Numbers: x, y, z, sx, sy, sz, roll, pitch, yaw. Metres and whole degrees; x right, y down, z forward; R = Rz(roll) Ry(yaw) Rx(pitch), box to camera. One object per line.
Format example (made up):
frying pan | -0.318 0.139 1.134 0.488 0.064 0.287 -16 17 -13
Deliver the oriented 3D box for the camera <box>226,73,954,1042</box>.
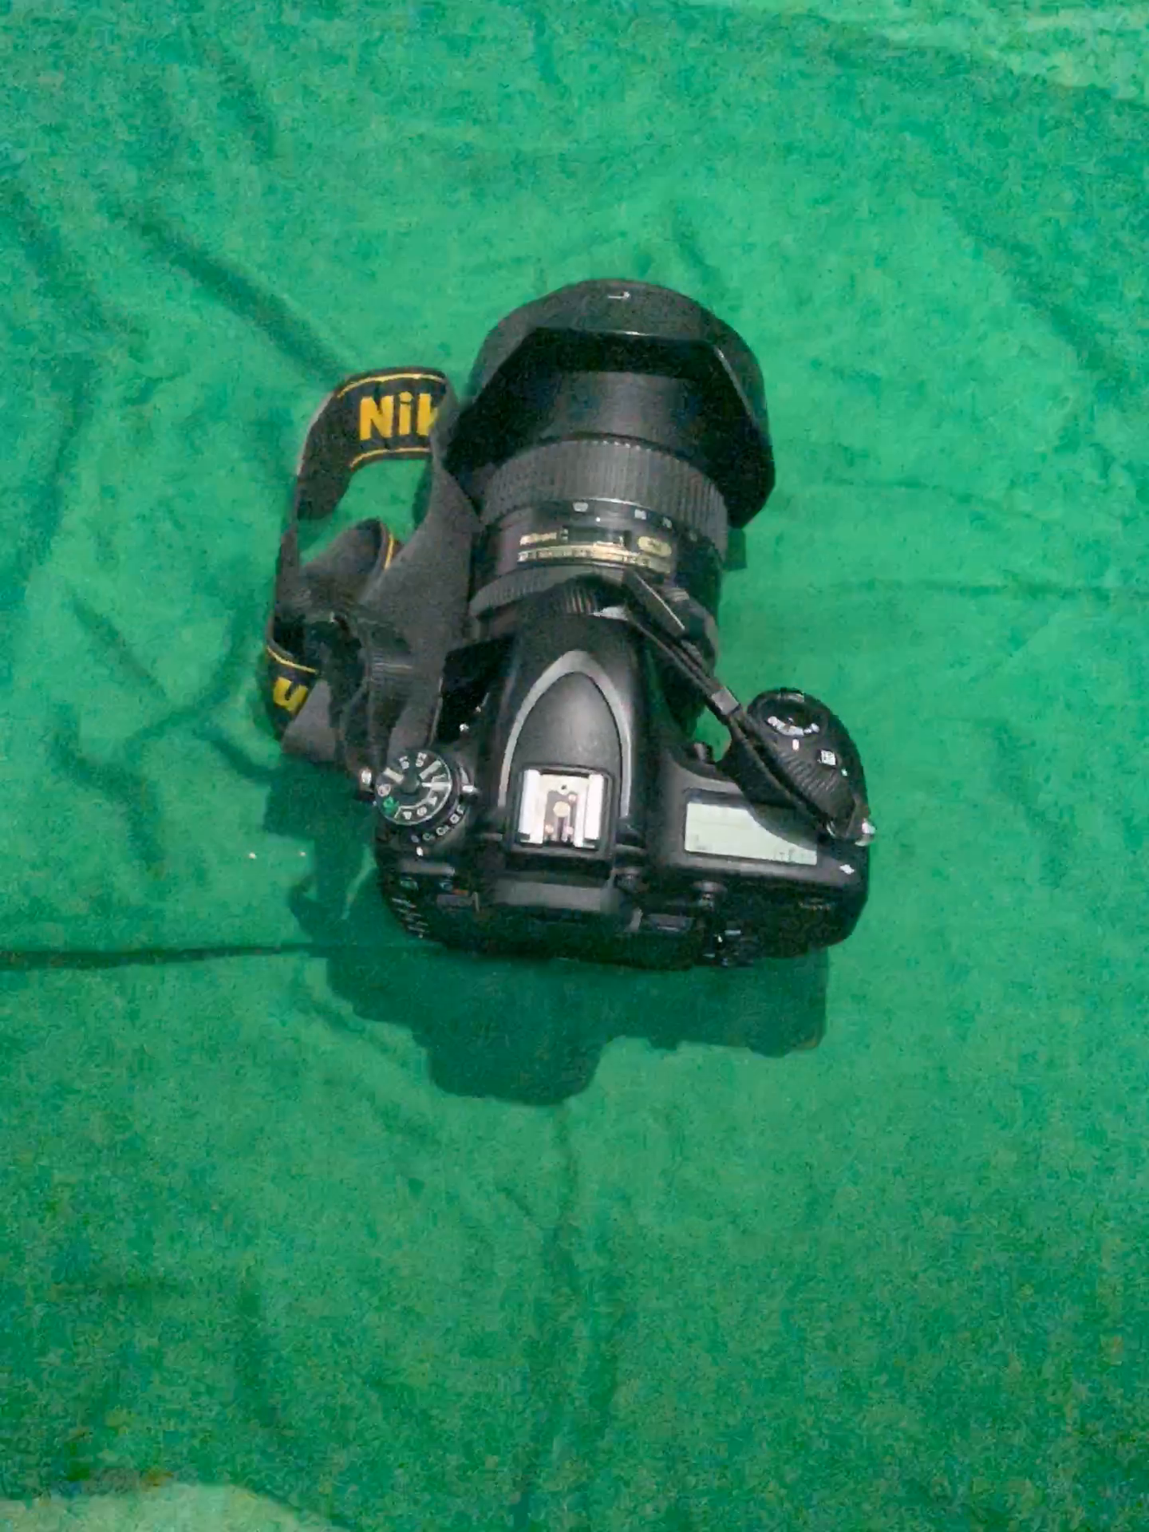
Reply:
camera | 0.018 -0.075 0.381 0.170 0.100 0.291 5 65 3
